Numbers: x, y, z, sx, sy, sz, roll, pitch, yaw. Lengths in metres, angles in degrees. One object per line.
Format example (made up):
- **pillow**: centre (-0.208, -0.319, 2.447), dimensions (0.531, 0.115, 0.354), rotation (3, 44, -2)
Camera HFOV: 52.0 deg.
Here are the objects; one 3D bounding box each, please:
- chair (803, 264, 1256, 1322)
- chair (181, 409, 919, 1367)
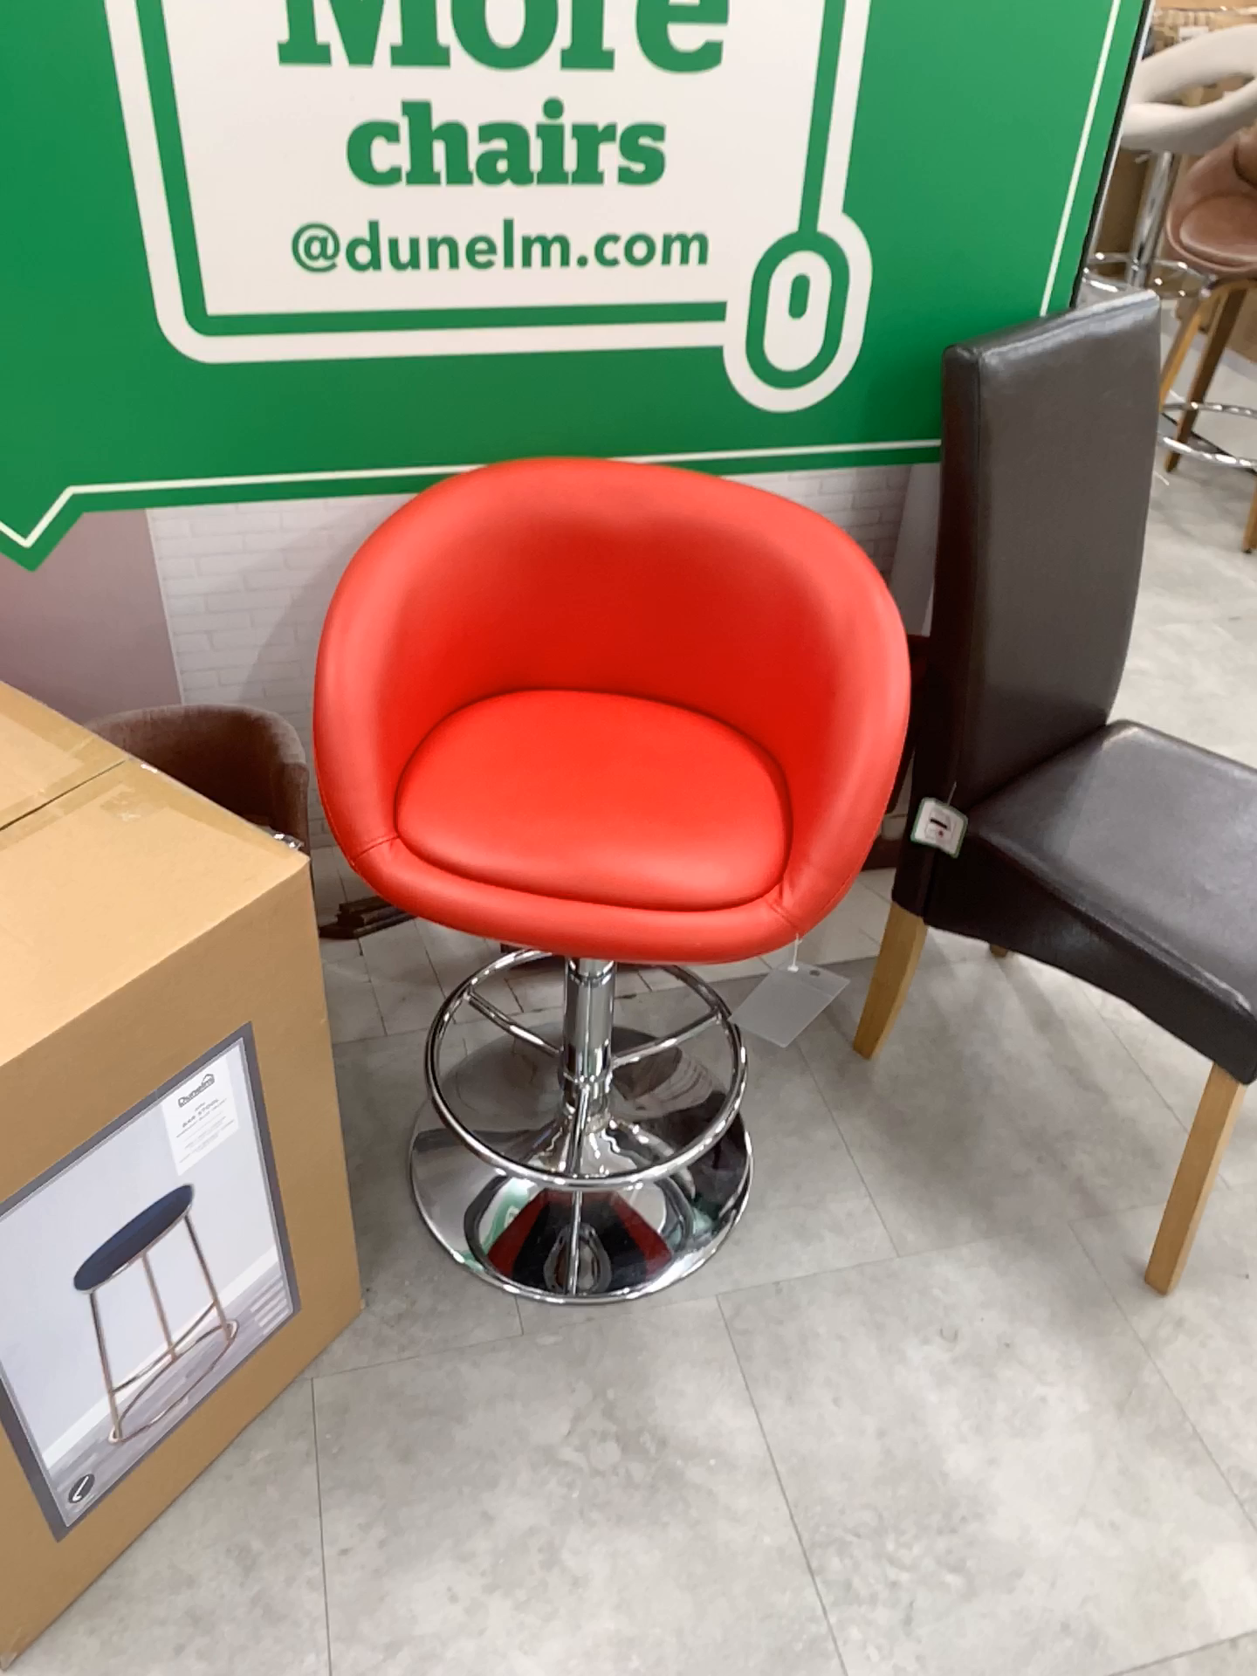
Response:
- **chair**: centre (0.587, -0.049, 1.401), dimensions (0.446, 0.919, 0.520), rotation (-27, 46, -33)
- **chair**: centre (-0.043, 0.056, 1.271), dimensions (0.494, 0.761, 0.482), rotation (6, 37, 4)
